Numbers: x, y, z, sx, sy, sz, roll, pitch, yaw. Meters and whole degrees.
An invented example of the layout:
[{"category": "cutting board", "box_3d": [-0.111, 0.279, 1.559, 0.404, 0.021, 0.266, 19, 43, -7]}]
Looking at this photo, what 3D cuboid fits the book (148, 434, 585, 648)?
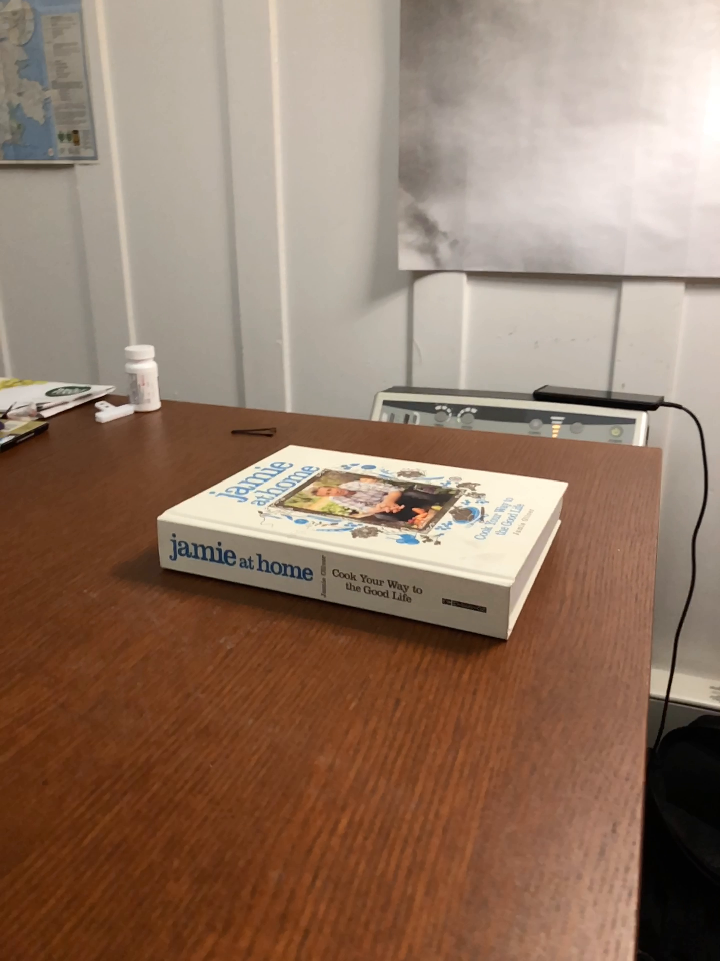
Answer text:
[{"category": "book", "box_3d": [0.017, 0.027, 0.588, 0.260, 0.040, 0.211, 8, 22, 22]}]
